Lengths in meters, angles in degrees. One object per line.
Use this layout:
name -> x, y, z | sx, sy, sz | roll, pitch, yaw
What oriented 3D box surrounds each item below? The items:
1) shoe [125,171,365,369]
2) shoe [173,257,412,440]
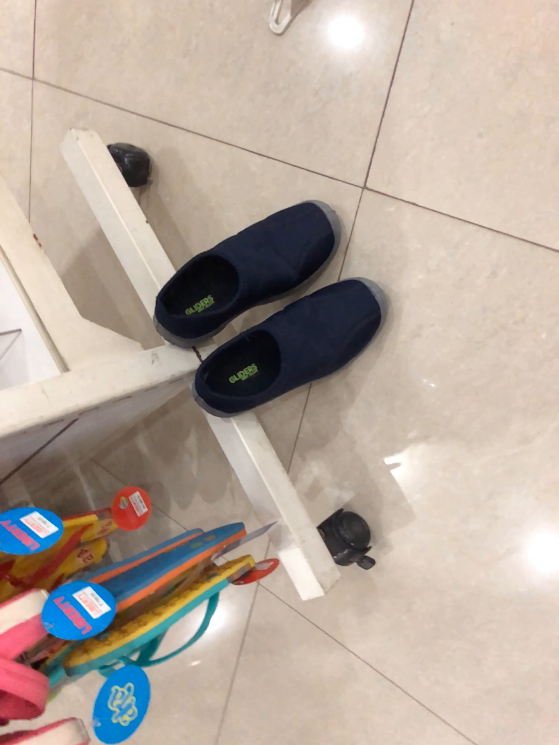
shoe -> -0.050, -0.123, 0.797 | 0.290, 0.083, 0.110 | -29, 86, 25
shoe -> 0.012, -0.026, 0.794 | 0.290, 0.063, 0.107 | -29, 86, 22
